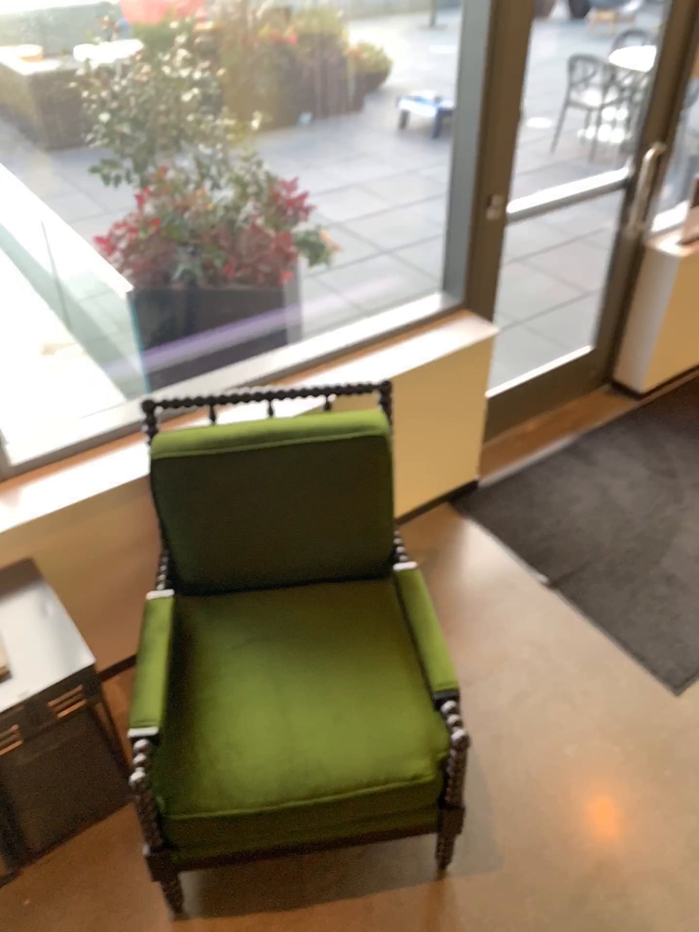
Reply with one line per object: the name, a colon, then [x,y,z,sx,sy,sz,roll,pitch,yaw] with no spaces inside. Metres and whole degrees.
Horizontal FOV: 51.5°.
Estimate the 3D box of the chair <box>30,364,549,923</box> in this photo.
chair: [-0.145,0.415,1.869,0.870,0.925,0.946,-5,40,-5]
